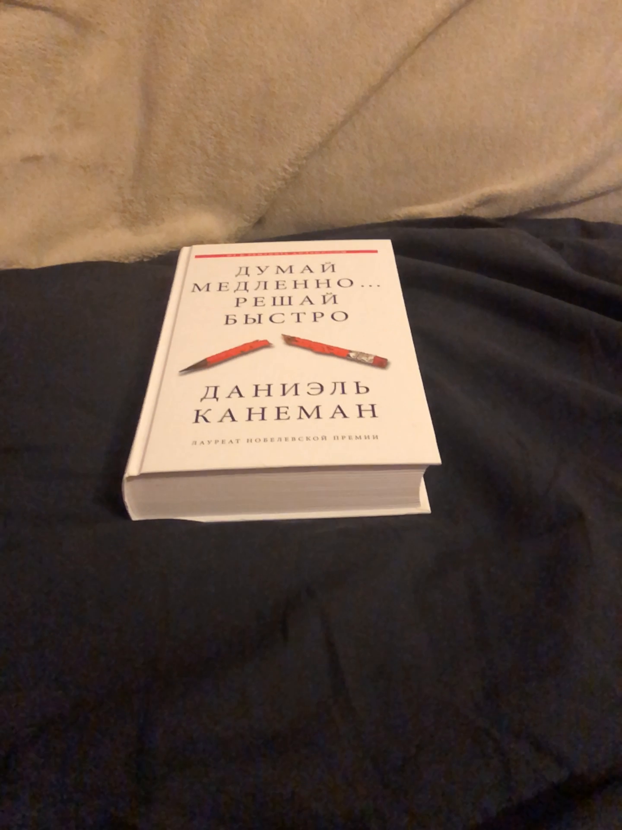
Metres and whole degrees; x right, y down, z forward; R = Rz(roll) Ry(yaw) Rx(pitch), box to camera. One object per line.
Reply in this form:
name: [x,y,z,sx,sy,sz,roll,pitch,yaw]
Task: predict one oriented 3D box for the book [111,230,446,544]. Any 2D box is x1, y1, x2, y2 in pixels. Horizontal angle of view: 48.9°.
book: [-0.015,-0.031,0.402,0.149,0.050,0.221,-2,42,0]
